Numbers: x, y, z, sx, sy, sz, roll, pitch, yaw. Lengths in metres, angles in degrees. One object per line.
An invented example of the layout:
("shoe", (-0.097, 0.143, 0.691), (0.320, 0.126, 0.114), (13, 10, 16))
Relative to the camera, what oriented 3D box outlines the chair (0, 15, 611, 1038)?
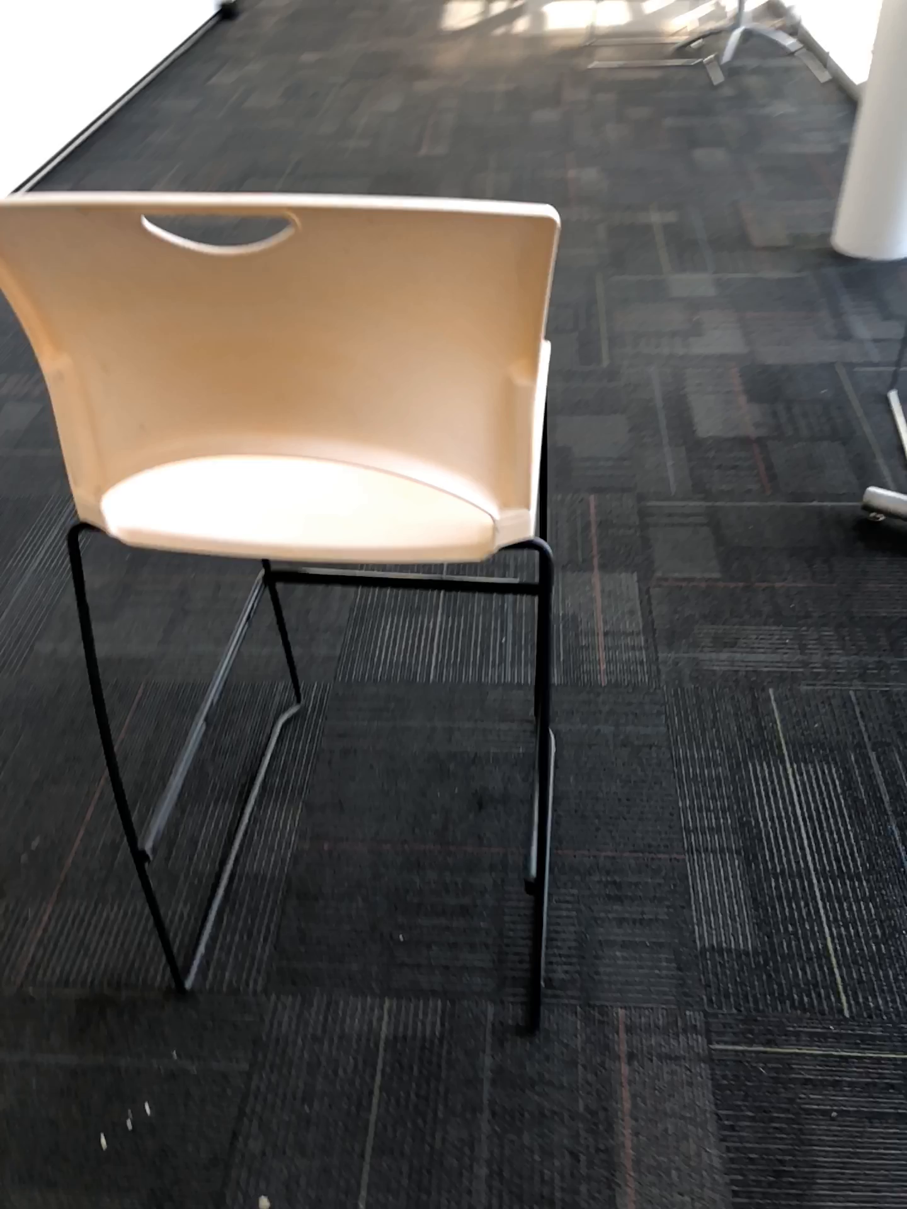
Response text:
("chair", (-0.127, -0.083, 1.245), (0.580, 0.995, 0.723), (3, 40, 7))
